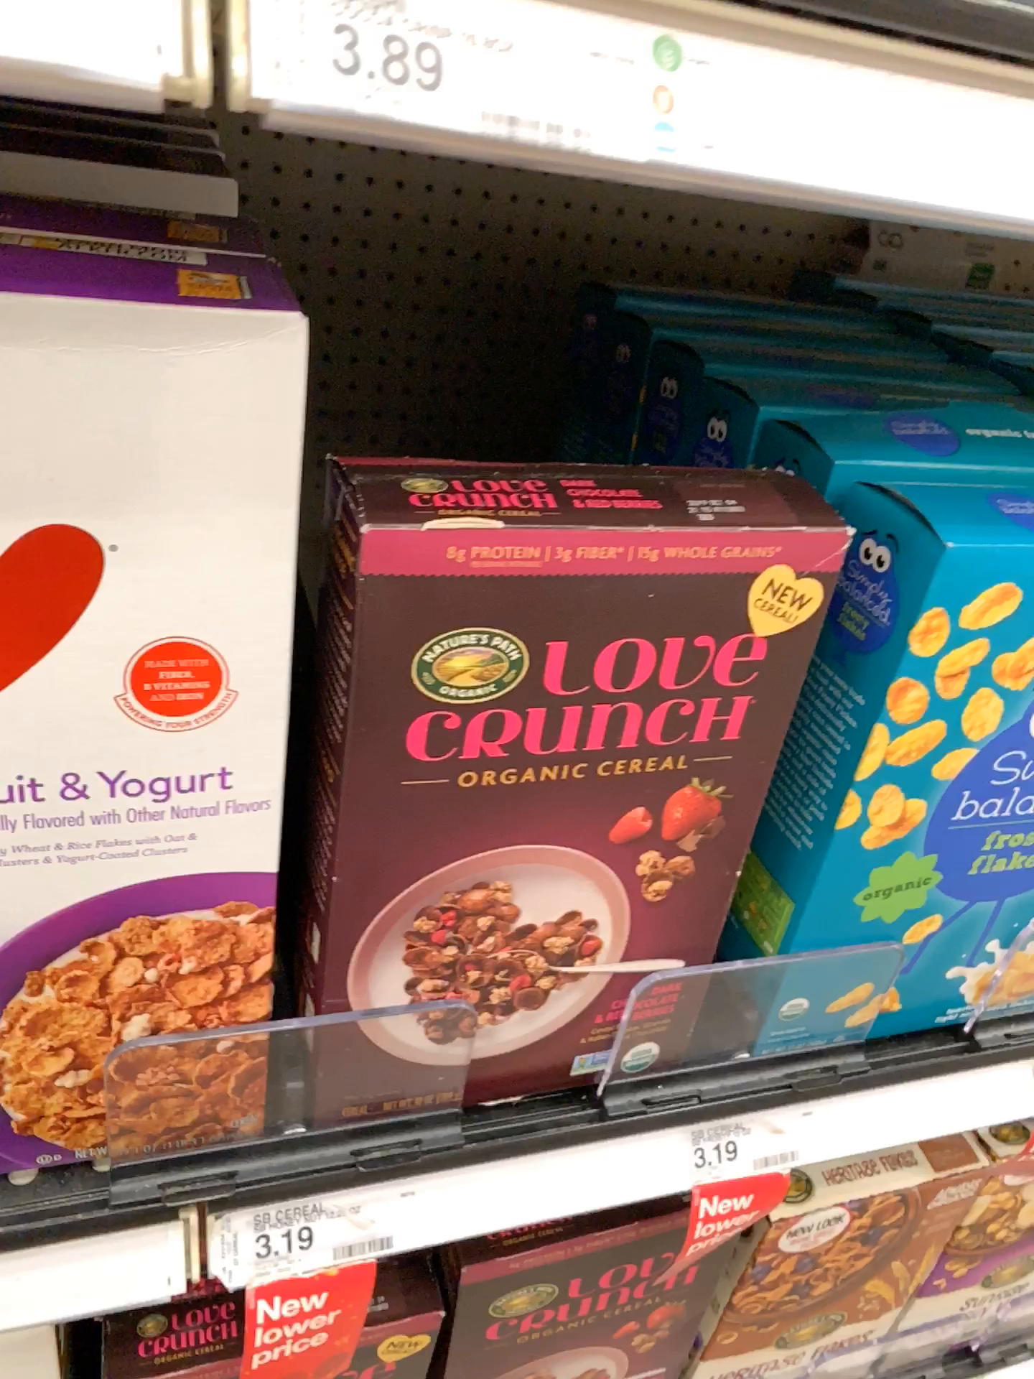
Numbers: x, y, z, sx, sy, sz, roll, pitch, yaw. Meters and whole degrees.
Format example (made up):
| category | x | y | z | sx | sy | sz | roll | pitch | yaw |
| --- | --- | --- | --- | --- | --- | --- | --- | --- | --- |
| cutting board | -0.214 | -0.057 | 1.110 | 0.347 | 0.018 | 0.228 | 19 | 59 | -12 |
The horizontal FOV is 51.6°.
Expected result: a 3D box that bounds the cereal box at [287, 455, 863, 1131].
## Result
| category | x | y | z | sx | sy | sz | roll | pitch | yaw |
| --- | --- | --- | --- | --- | --- | --- | --- | --- | --- |
| cereal box | 0.006 | 0.045 | 0.389 | 0.160 | 0.249 | 0.050 | -3 | 33 | -20 |
